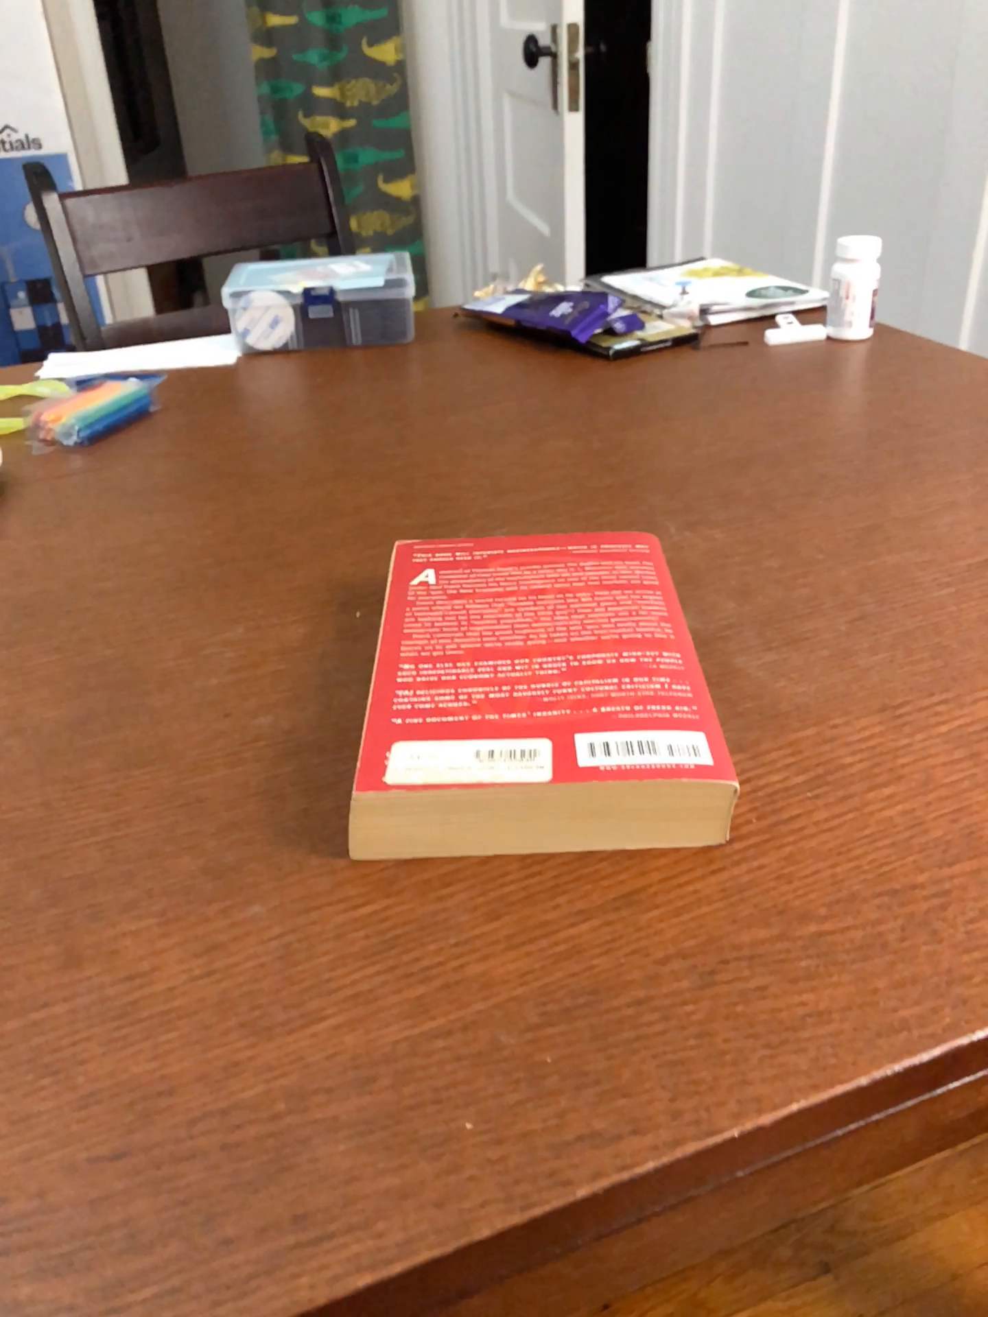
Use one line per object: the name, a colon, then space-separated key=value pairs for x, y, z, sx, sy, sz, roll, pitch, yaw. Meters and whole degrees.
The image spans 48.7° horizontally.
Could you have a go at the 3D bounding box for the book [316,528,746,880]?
book: x=0.012 y=0.005 z=0.454 sx=0.140 sy=0.030 sz=0.211 roll=-2 pitch=31 yaw=1
